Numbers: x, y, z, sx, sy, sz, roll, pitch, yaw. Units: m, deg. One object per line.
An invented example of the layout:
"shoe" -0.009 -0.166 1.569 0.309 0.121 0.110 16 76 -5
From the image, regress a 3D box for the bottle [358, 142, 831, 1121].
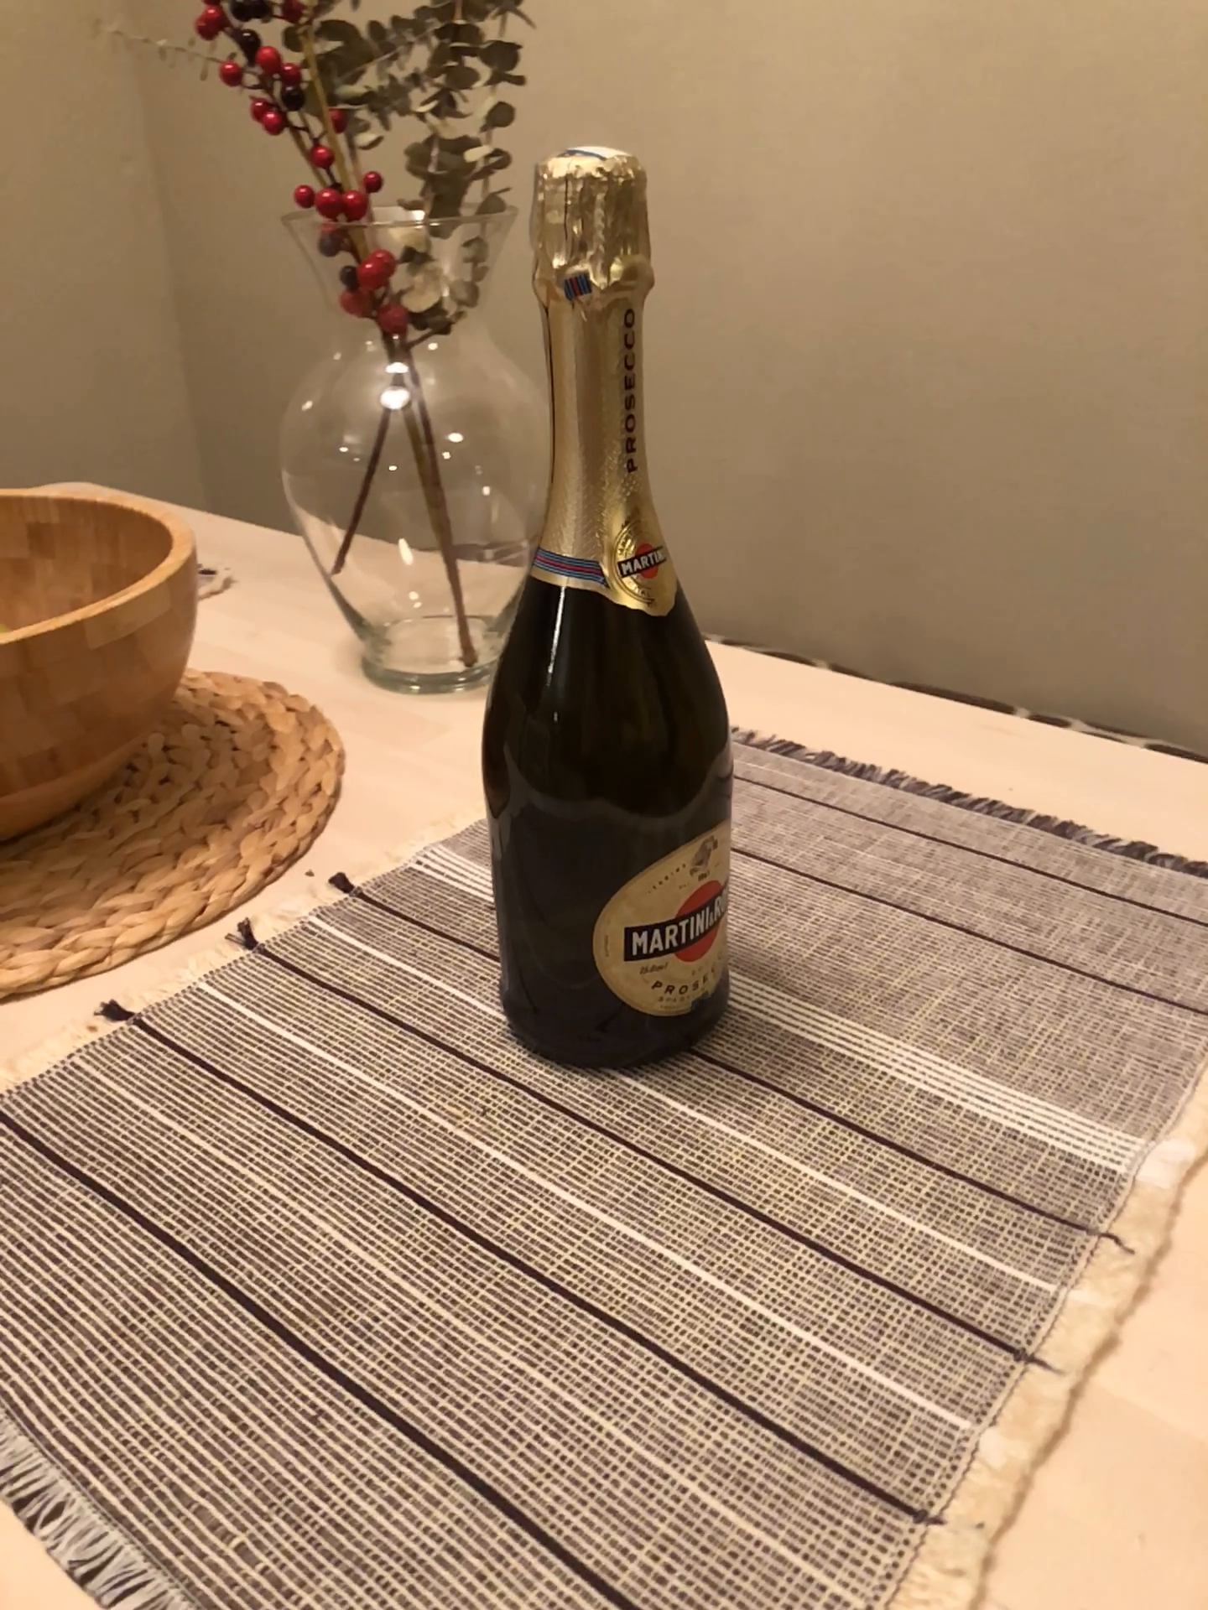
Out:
"bottle" 0.001 -0.058 0.467 0.100 0.308 0.100 -1 27 1
